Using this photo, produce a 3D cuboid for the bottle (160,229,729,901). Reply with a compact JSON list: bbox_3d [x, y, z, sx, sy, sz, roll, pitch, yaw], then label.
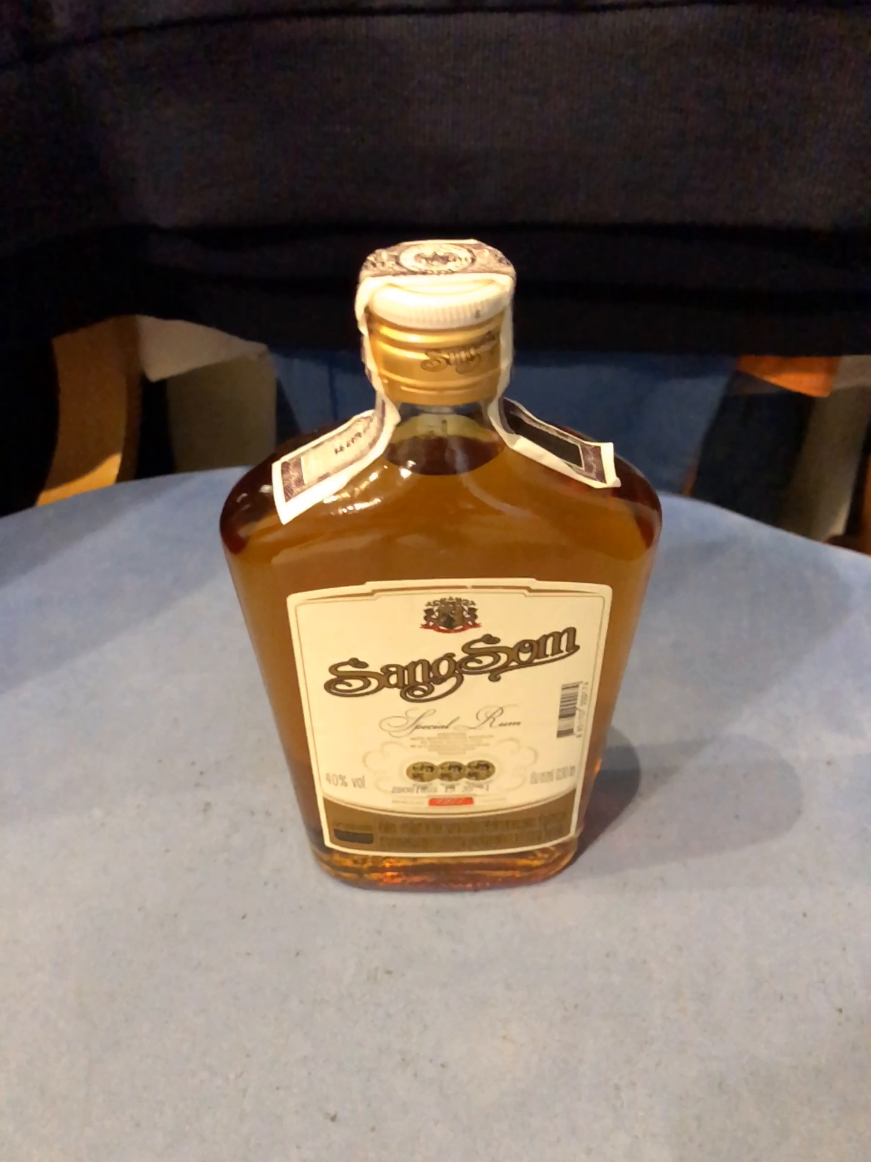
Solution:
[{"bbox_3d":[0.002,0.013,0.231,0.090,0.179,0.041,-1,45,0],"label":"bottle"}]
